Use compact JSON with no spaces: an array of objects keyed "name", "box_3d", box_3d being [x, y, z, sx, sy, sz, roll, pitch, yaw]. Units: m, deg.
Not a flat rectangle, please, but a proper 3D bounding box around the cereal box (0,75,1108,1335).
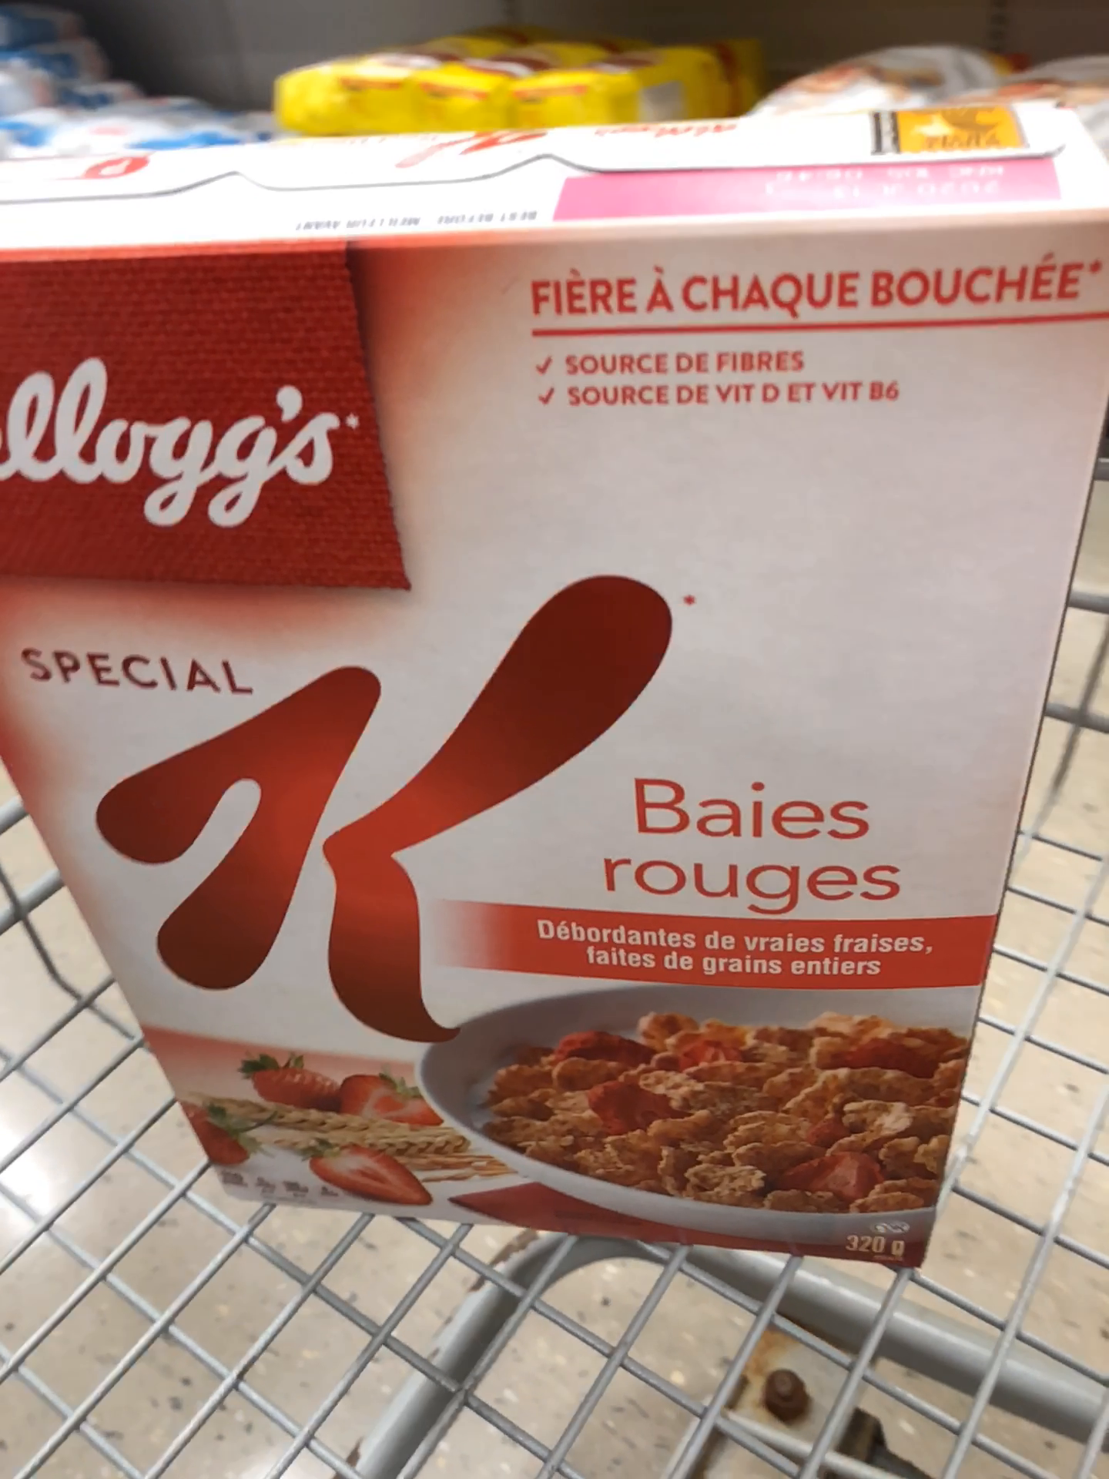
[{"name":"cereal box","box_3d":[-0.015,0.022,0.261,0.210,0.269,0.050,2,39,11]}]
